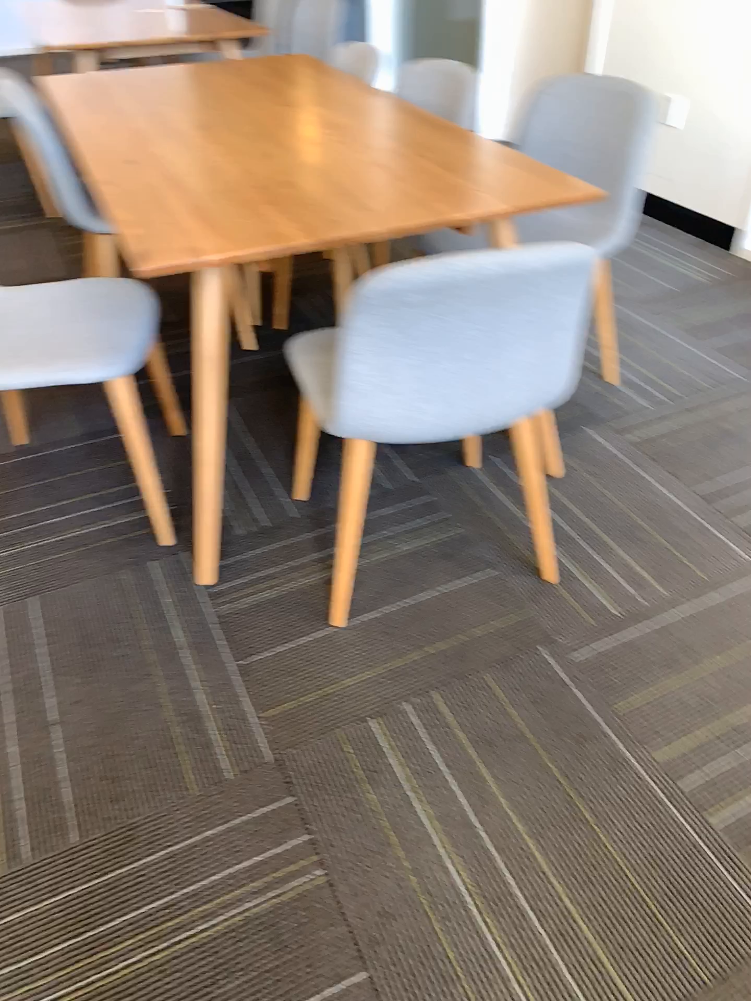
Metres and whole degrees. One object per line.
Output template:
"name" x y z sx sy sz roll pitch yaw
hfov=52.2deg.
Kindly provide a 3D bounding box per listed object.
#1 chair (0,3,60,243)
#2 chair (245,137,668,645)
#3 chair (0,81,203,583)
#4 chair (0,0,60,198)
"chair" -1.804 -1.657 3.343 0.570 0.795 0.594 -15 41 -17
"chair" 0.102 -0.227 1.541 0.560 0.775 0.534 -11 40 -13
"chair" -0.782 -0.406 1.732 0.630 0.815 0.765 -5 39 -6
"chair" -2.017 -2.049 3.872 0.530 0.775 0.574 -17 41 -20
